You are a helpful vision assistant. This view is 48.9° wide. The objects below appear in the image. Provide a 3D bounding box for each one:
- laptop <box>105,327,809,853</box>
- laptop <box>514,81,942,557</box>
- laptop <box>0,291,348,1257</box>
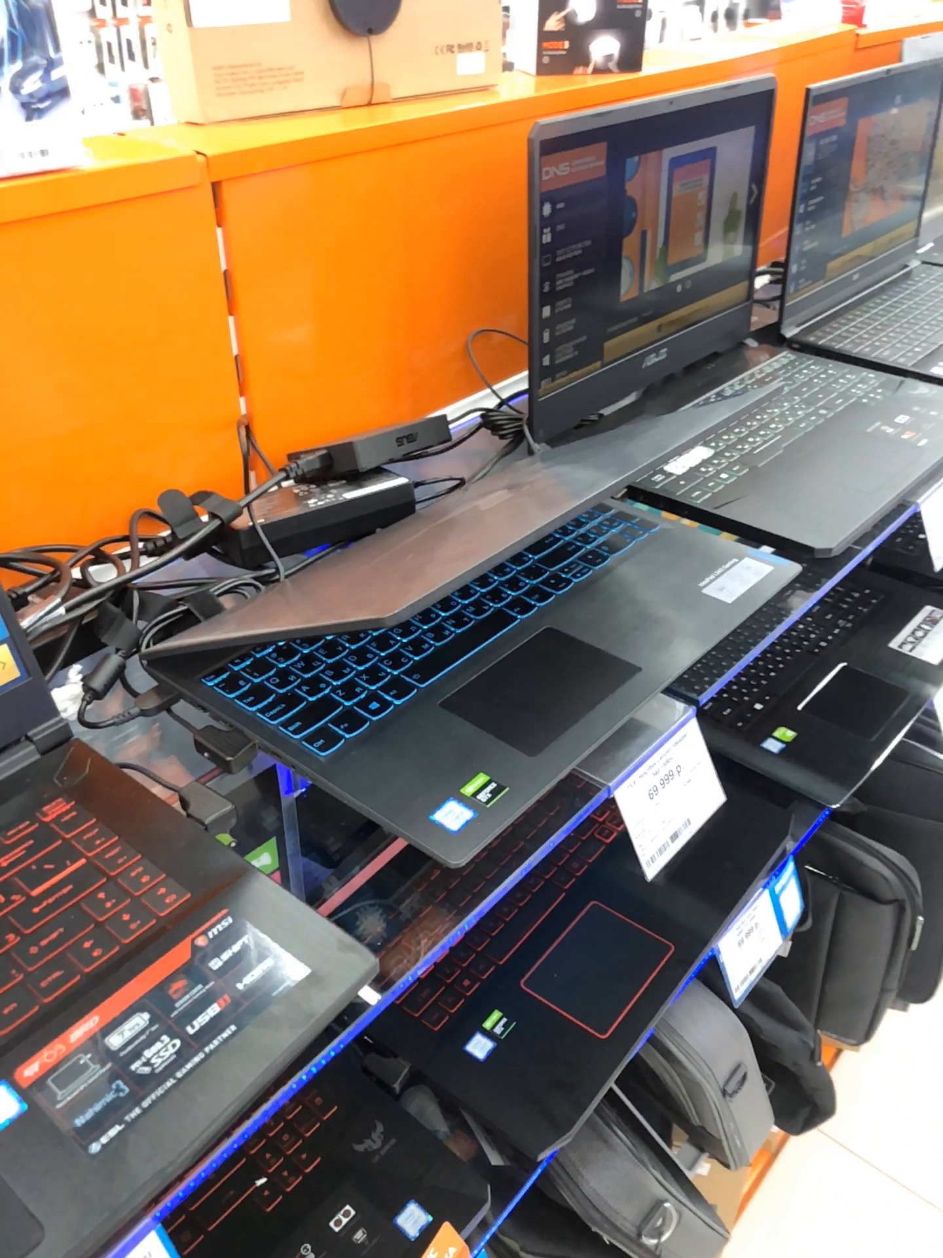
[{"bbox_3d":[0.007,-0.060,0.638,0.241,0.117,0.349,25,42,33],"label":"laptop"},{"bbox_3d":[0.259,-0.289,0.862,0.277,0.250,0.385,25,41,34],"label":"laptop"},{"bbox_3d":[-0.292,0.062,0.336,0.325,0.228,0.349,23,38,32],"label":"laptop"}]
